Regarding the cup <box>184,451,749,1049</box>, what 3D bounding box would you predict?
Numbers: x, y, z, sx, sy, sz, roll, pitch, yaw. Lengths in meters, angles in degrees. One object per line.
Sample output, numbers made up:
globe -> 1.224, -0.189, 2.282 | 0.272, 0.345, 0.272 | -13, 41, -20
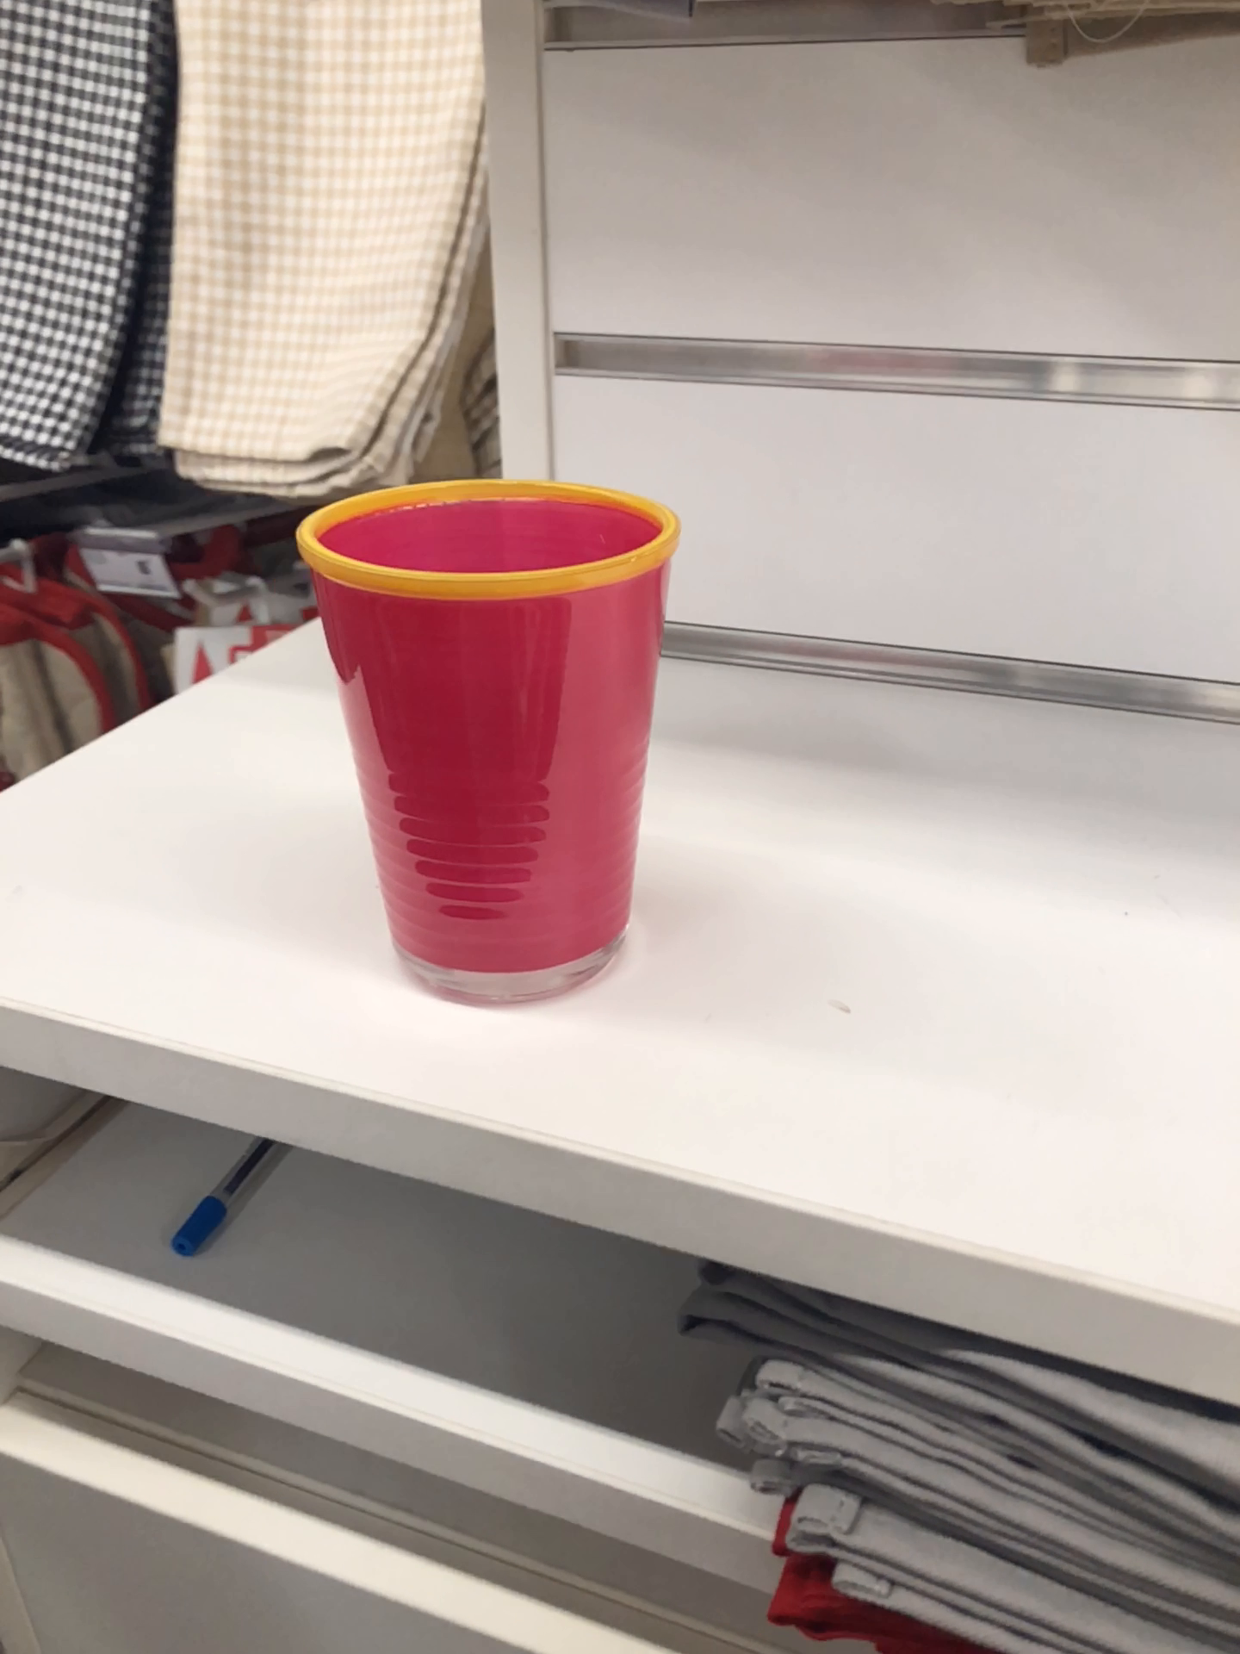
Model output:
cup -> -0.027, -0.023, 0.296 | 0.084, 0.094, 0.079 | -1, 27, 0
